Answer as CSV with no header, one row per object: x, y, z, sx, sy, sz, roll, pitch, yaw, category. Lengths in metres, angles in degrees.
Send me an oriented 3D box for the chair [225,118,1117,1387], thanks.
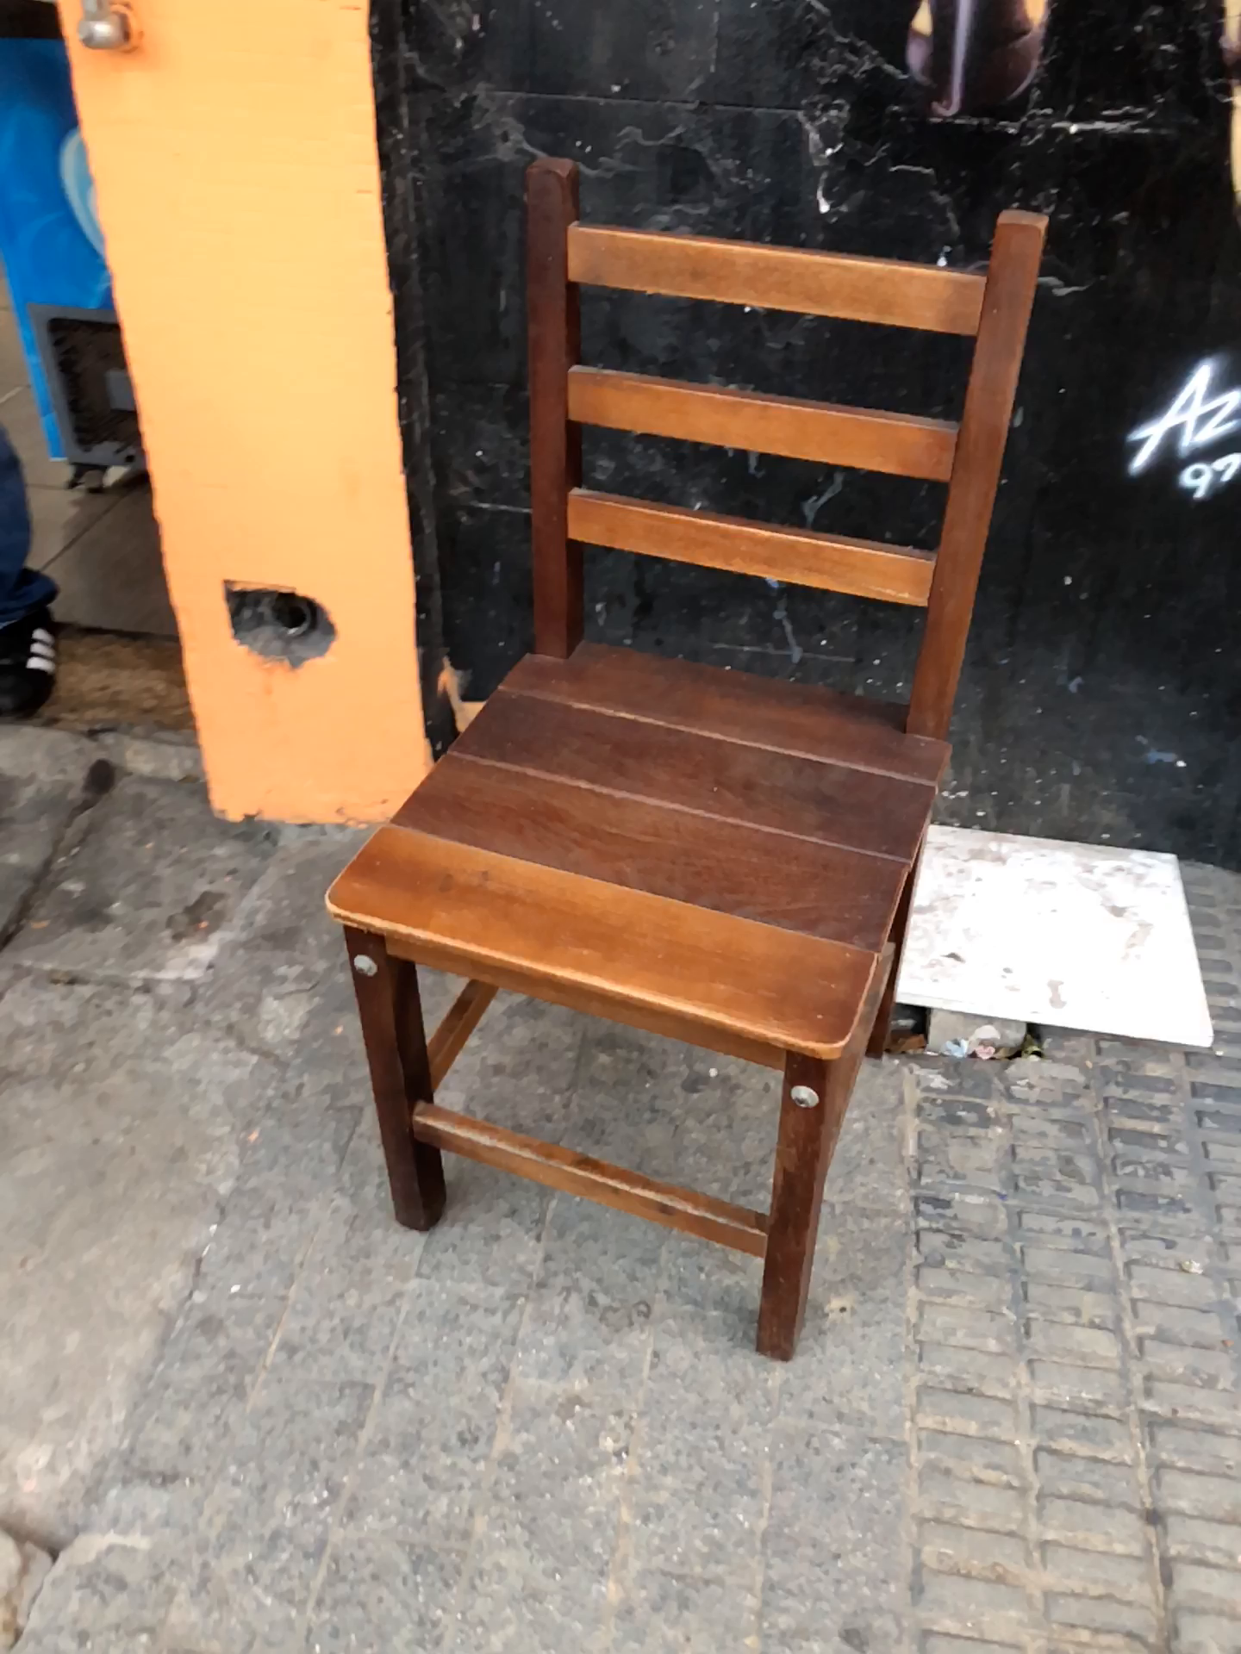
0.065,-0.060,1.186,0.460,0.893,0.504,14,38,17,chair
